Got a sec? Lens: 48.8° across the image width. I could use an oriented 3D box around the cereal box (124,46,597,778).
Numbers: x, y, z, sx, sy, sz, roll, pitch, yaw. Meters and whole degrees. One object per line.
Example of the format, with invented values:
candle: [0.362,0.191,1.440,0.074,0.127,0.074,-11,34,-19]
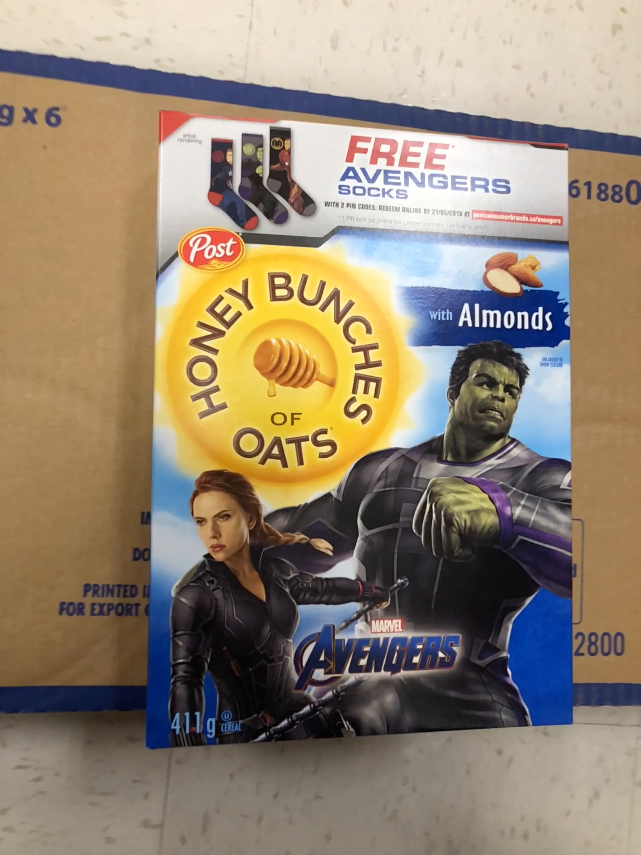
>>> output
cereal box: [0.017,-0.007,0.331,0.200,0.070,0.290,1,88,-10]
